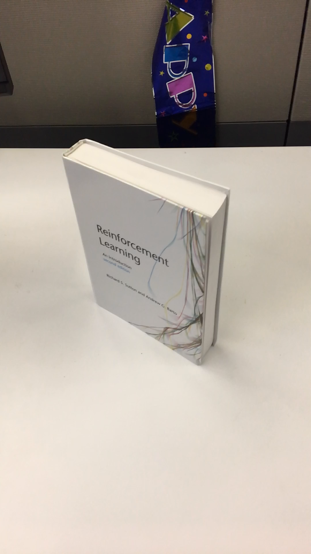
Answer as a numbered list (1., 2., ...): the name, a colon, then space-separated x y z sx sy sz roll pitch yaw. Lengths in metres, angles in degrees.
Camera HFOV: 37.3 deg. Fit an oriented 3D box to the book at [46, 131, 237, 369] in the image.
1. book: -0.011 -0.021 0.505 0.180 0.230 0.050 26 55 25
